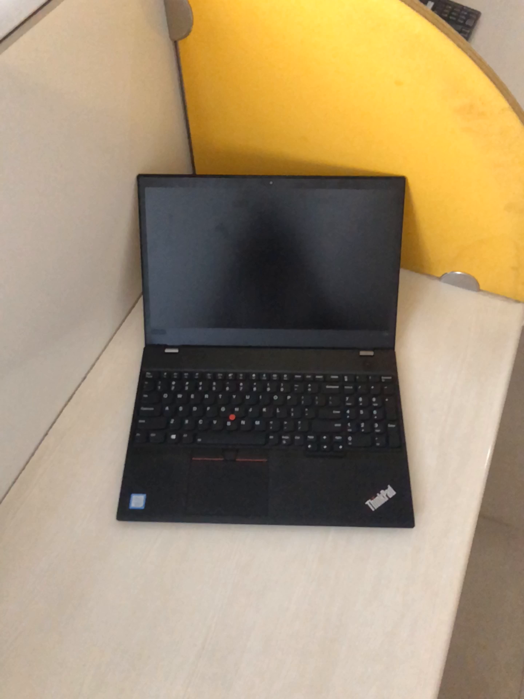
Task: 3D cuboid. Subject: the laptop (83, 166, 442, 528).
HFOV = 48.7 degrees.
[{"bbox_3d":[0.004,-0.017,0.724,0.344,0.151,0.421,1,59,0],"label":"laptop"}]
